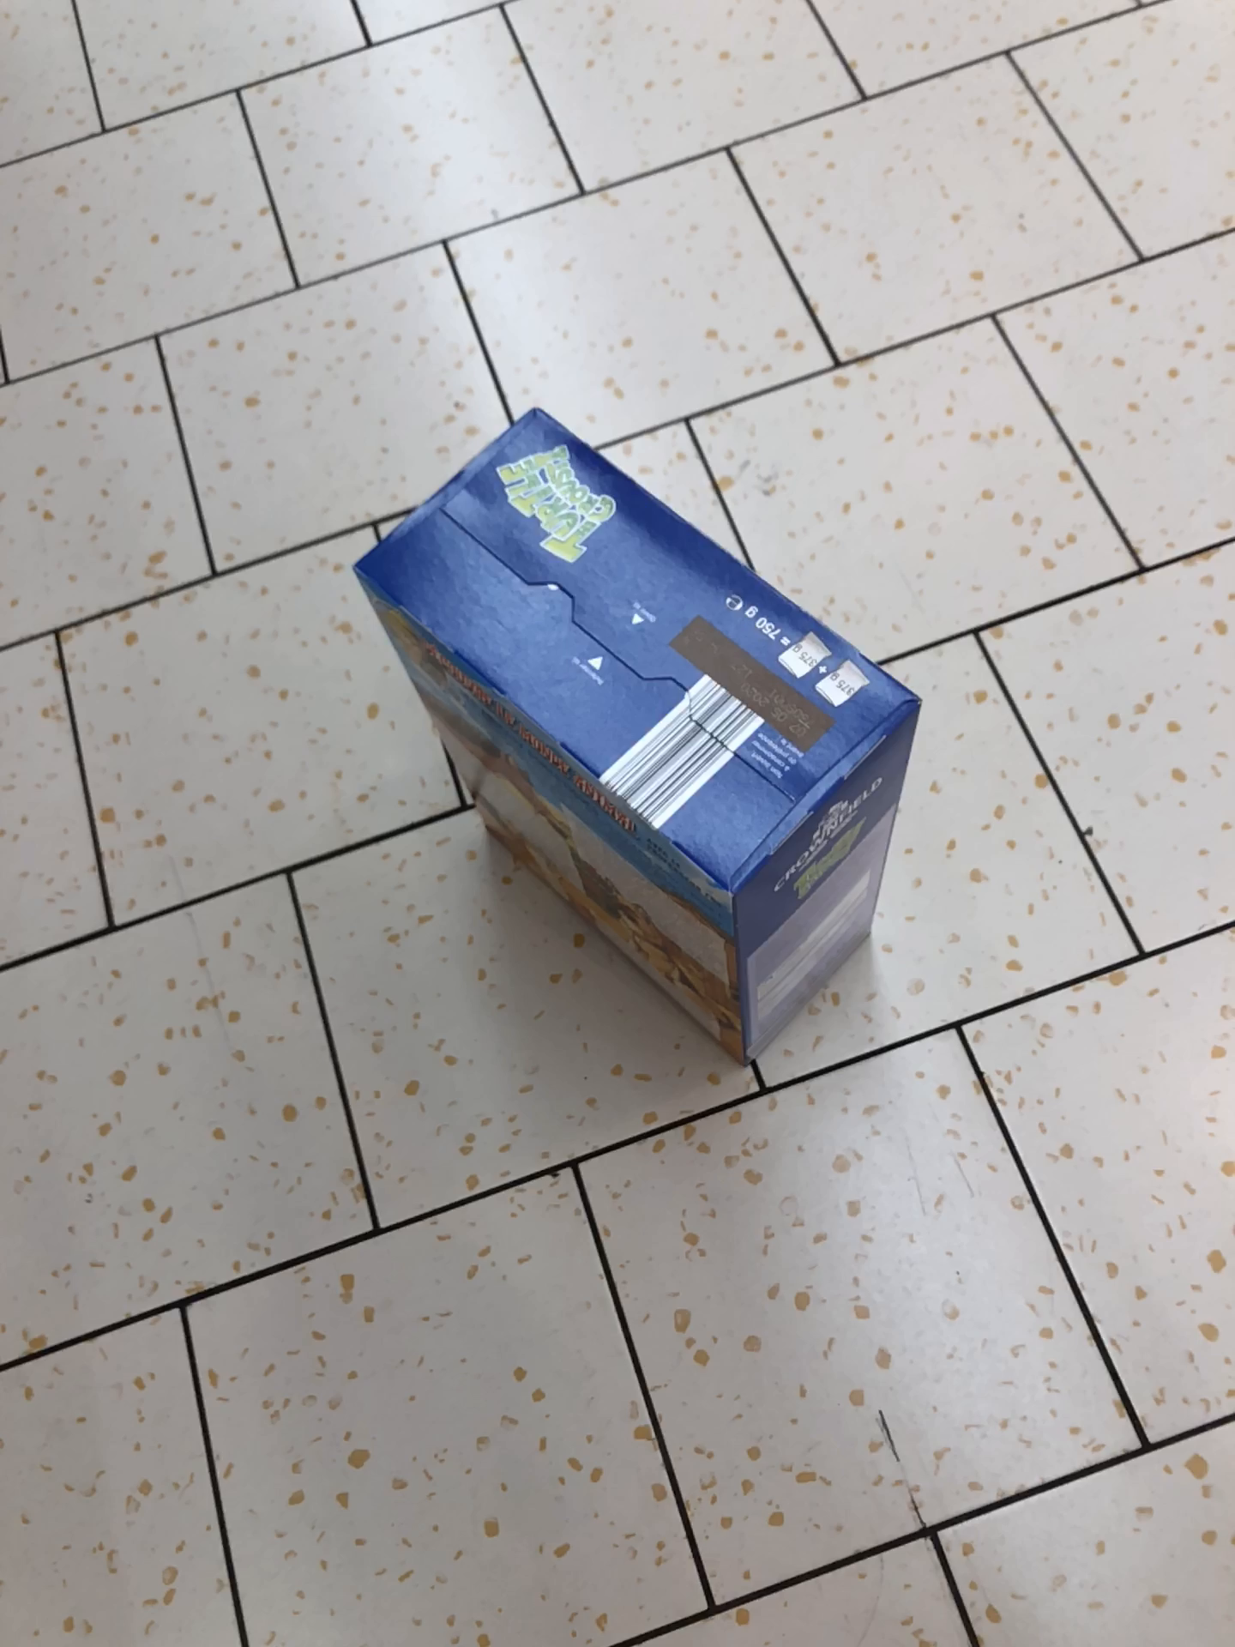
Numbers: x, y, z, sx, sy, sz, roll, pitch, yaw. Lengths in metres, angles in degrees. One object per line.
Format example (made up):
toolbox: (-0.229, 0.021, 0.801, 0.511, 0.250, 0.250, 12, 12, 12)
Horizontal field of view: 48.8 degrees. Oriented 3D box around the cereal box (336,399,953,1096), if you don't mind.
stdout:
cereal box: (0.018, -0.014, 0.588, 0.200, 0.259, 0.100, 41, 77, 20)
